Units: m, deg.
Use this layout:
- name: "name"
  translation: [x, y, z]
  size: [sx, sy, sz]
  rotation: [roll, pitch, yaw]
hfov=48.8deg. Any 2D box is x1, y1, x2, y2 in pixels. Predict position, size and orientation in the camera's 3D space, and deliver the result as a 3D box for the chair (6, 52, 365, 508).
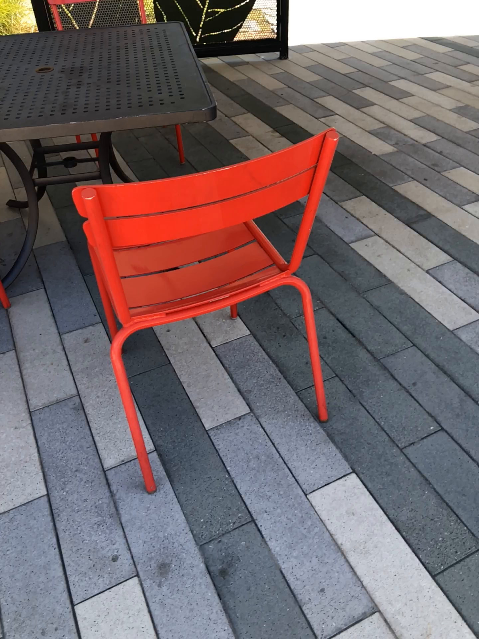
- name: "chair"
  translation: [-0.145, -0.110, 1.482]
  size: [0.610, 0.955, 0.633]
  rotation: [-19, 43, -18]
